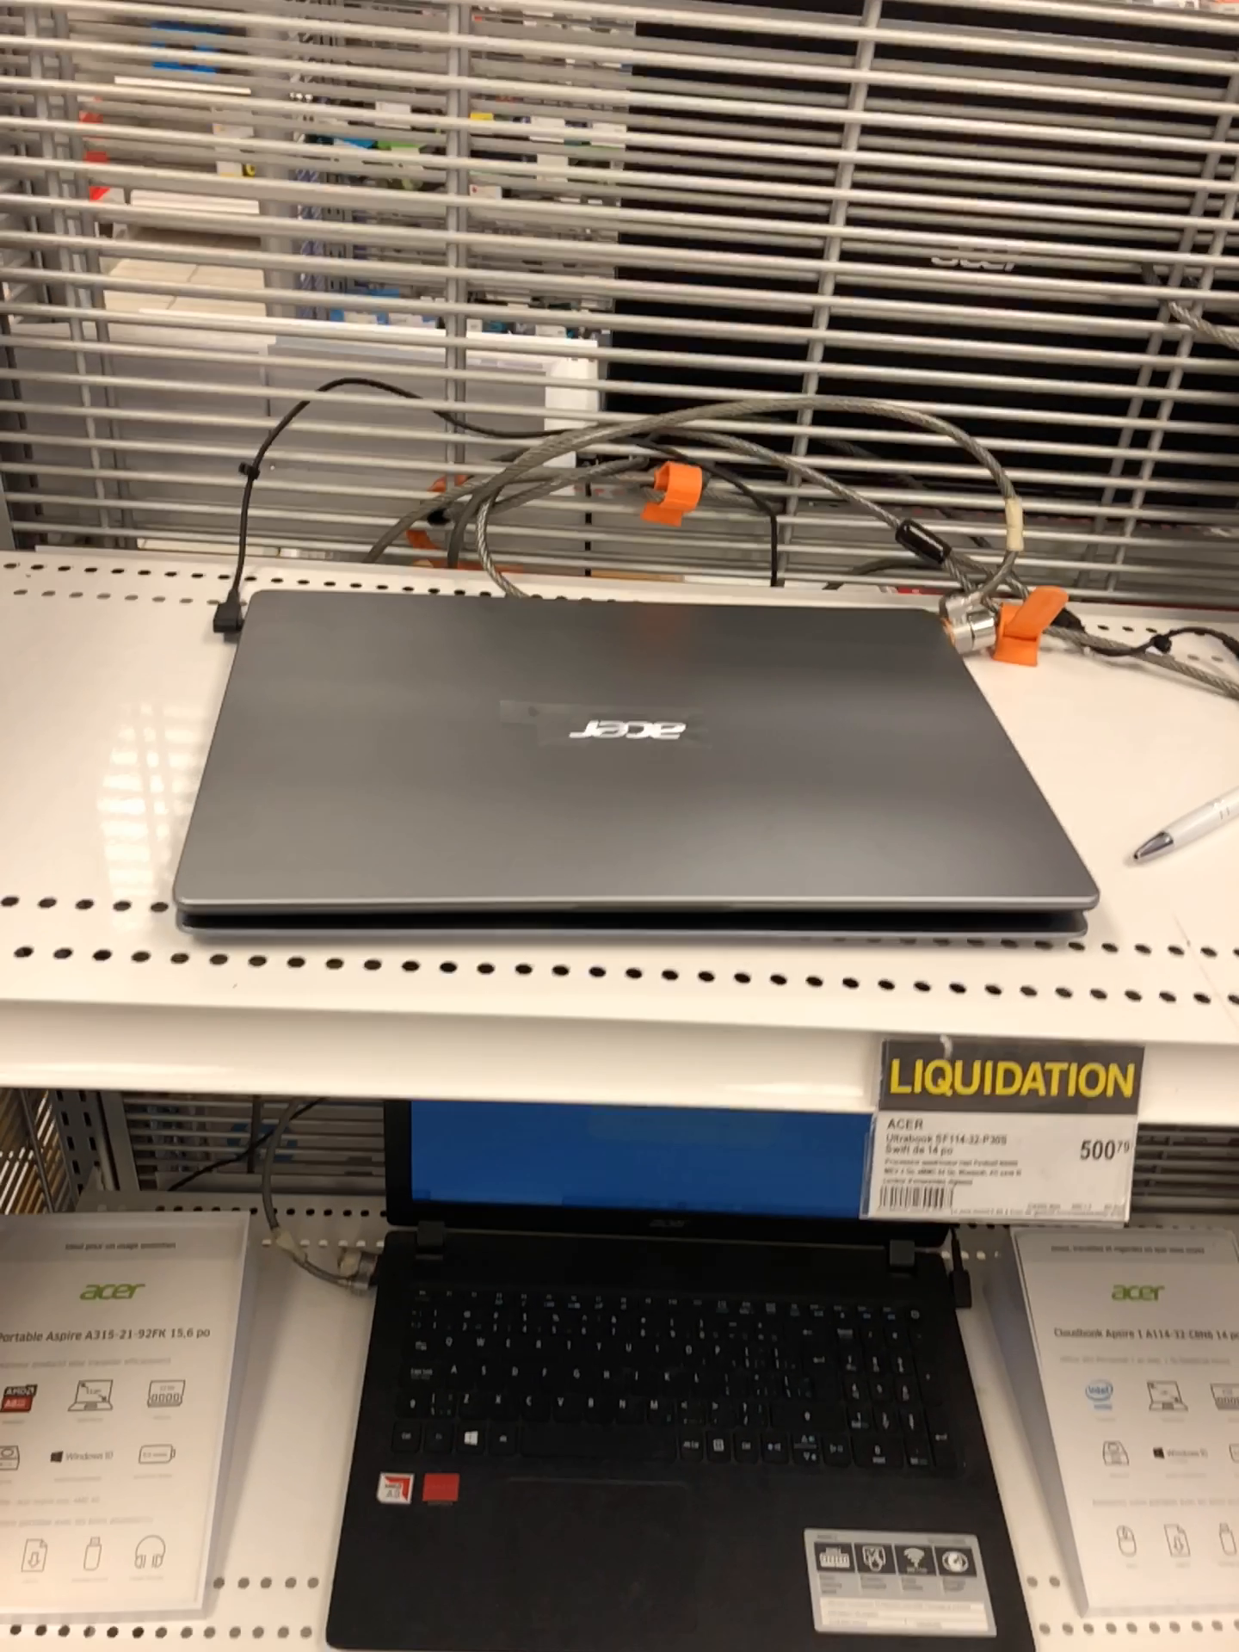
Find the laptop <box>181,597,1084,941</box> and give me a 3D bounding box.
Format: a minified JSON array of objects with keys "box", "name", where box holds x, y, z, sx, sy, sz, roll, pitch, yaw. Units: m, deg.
[{"box":[0.001,-0.032,0.560,0.315,0.006,0.220,1,39,-6],"name":"laptop"}]
